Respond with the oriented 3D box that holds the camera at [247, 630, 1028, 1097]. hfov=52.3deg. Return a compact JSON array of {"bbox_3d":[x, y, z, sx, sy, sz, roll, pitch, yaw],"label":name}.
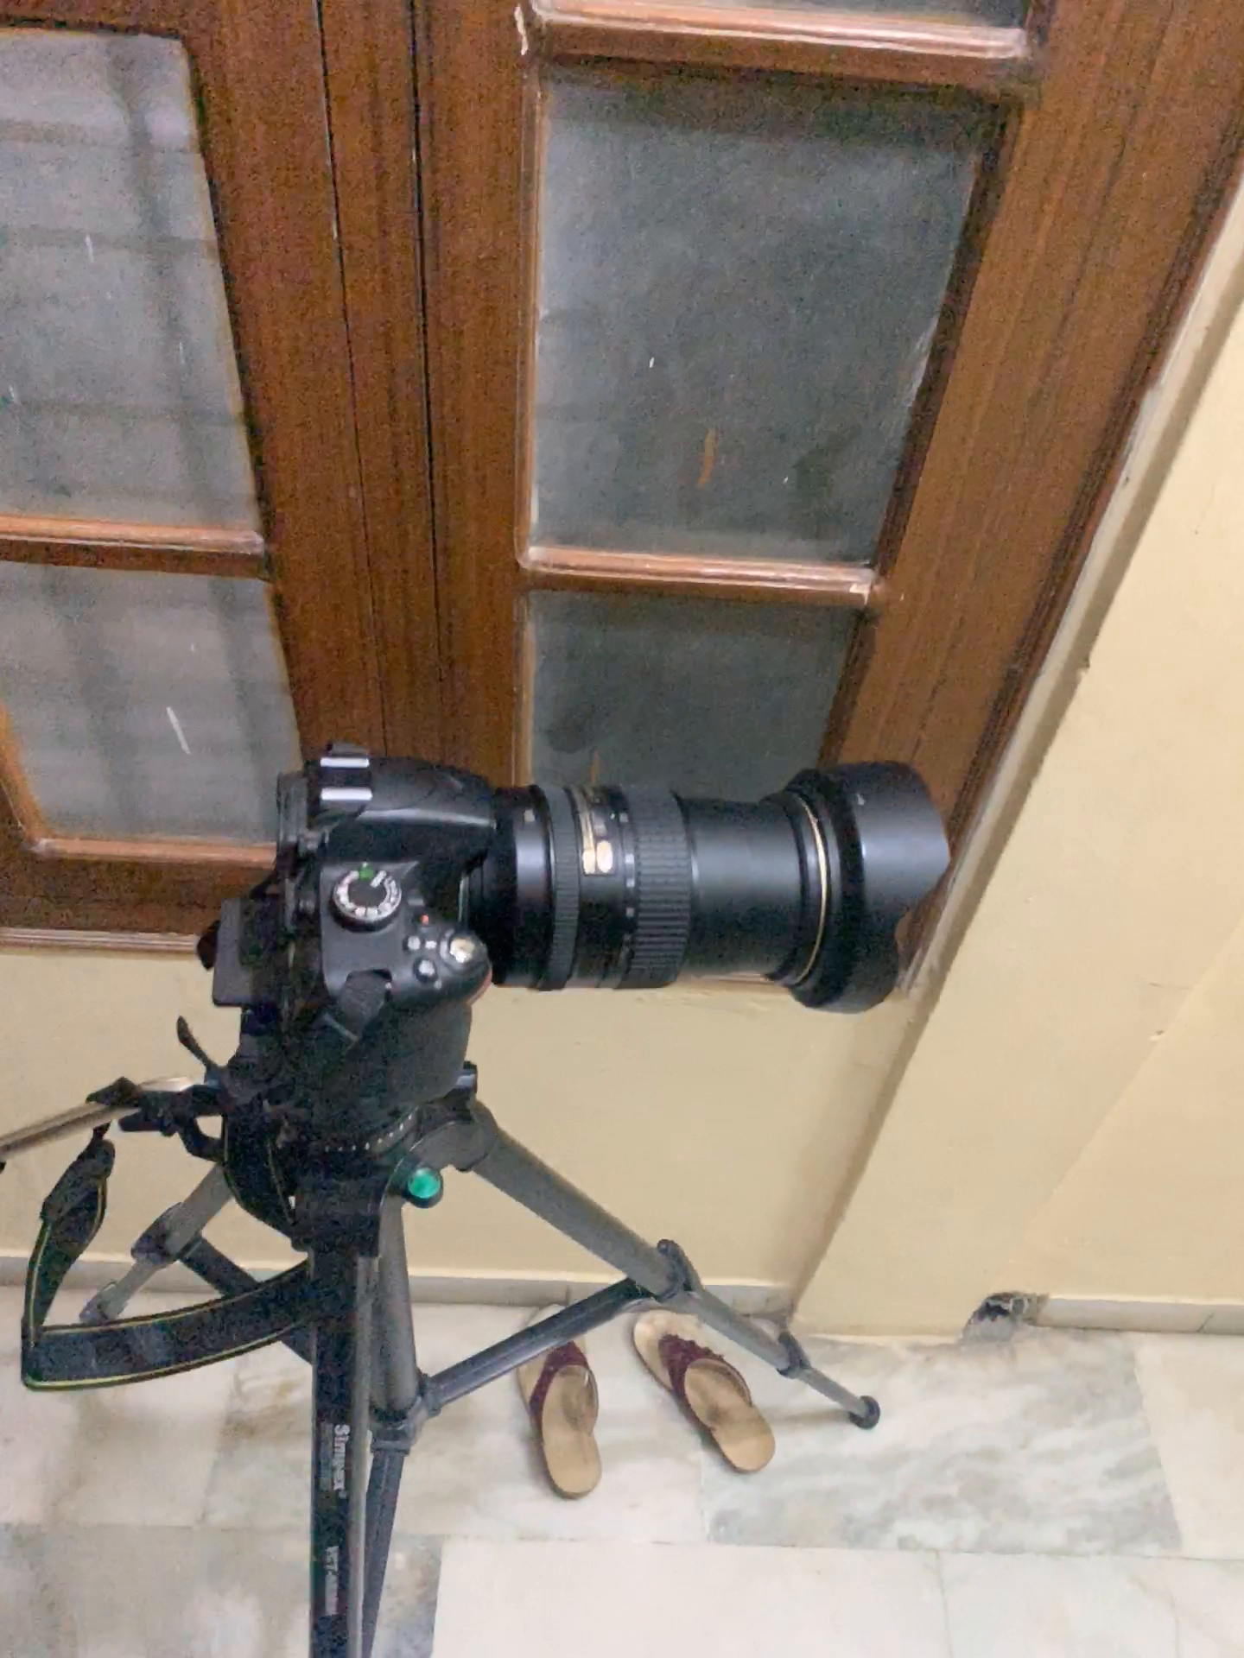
[{"bbox_3d":[-0.004,0.019,0.514,0.270,0.120,0.131,3,47,-11],"label":"camera"}]
